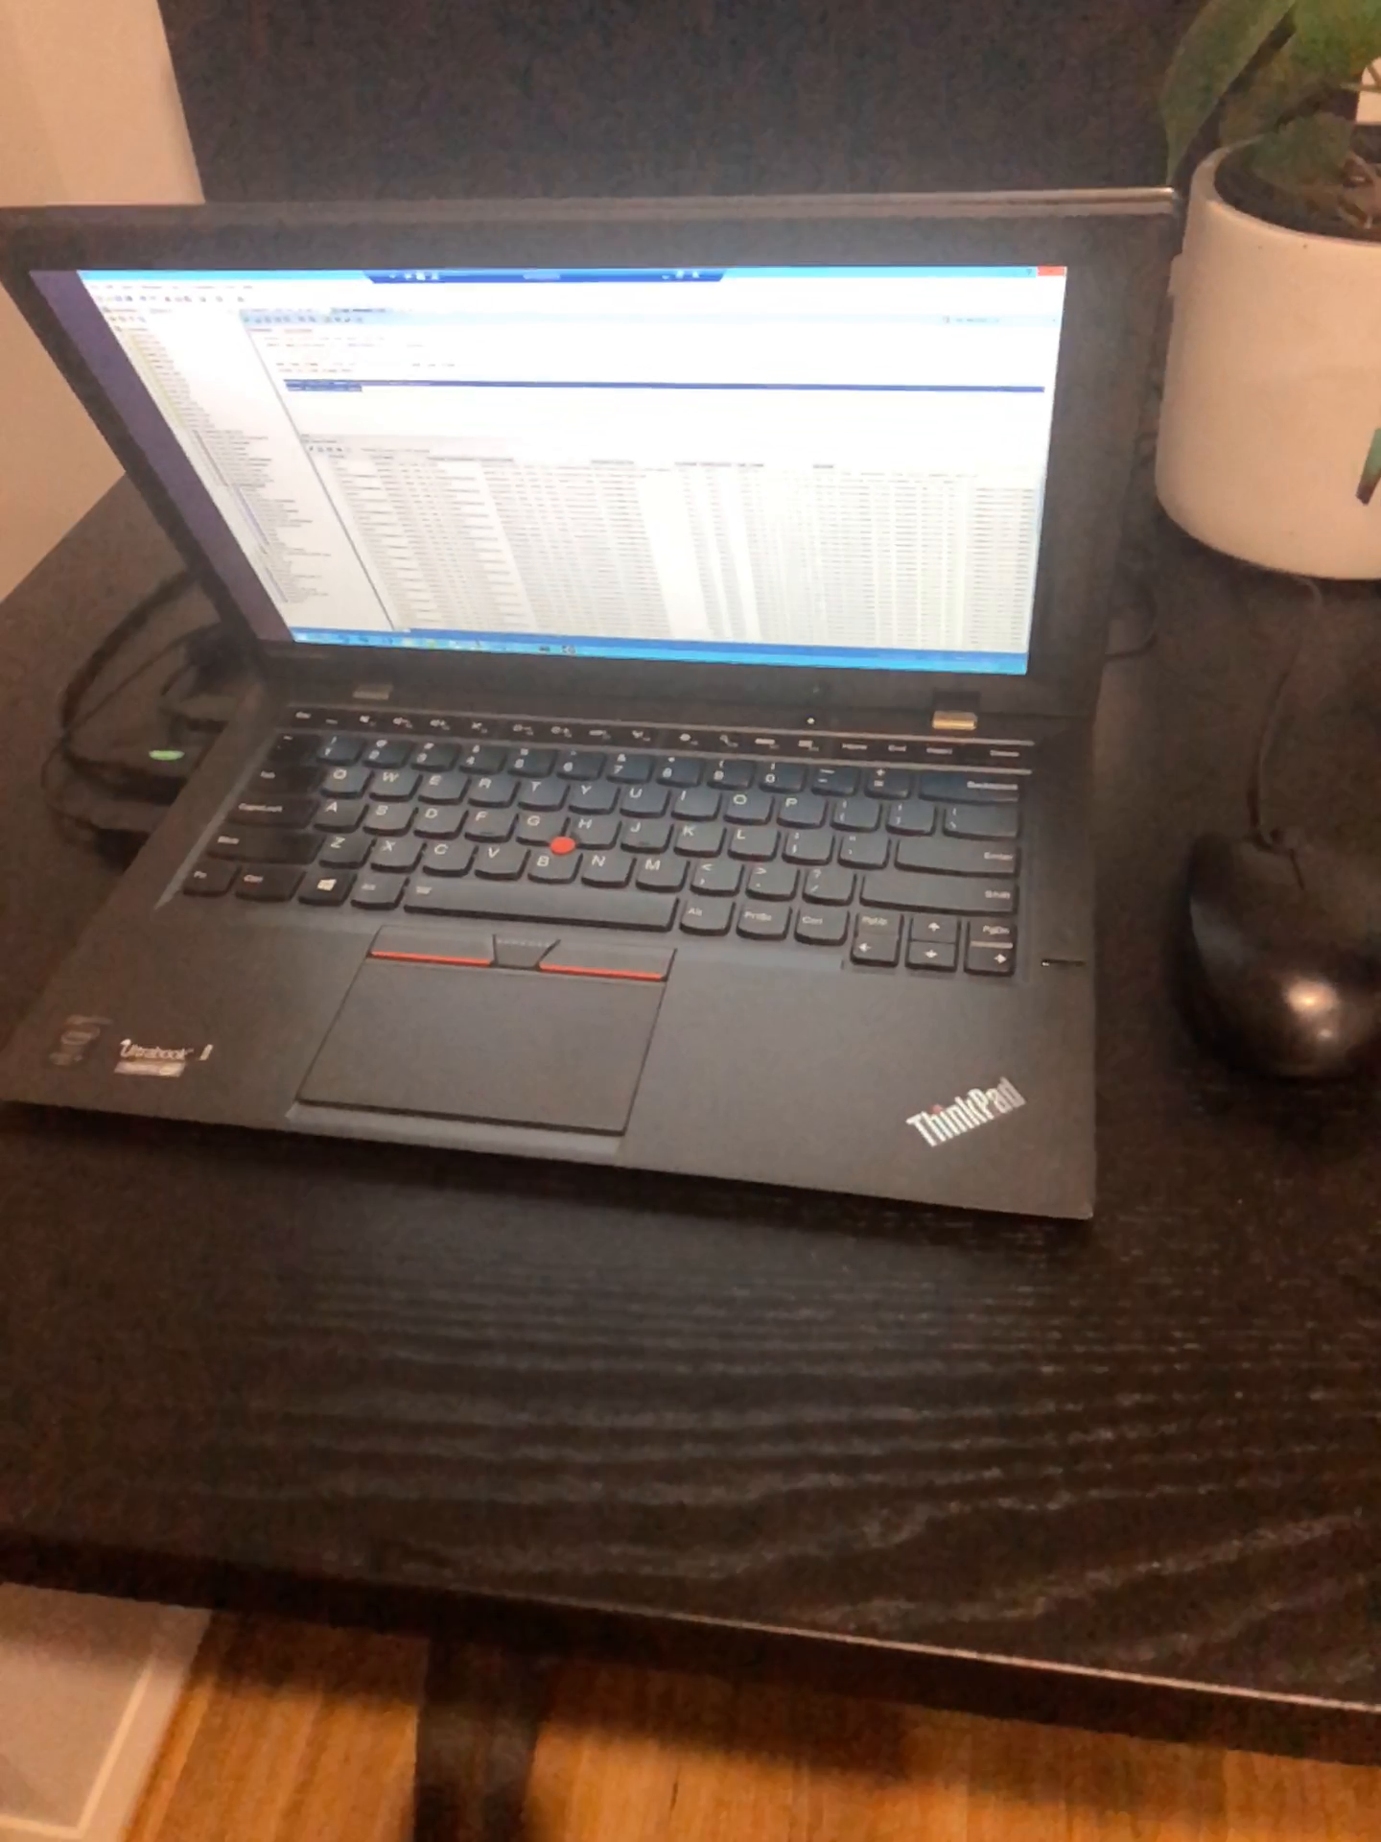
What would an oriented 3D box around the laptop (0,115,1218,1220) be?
[{"bbox_3d":[-0.045,-0.093,0.460,0.340,0.214,0.245,4,40,11],"label":"laptop"}]
